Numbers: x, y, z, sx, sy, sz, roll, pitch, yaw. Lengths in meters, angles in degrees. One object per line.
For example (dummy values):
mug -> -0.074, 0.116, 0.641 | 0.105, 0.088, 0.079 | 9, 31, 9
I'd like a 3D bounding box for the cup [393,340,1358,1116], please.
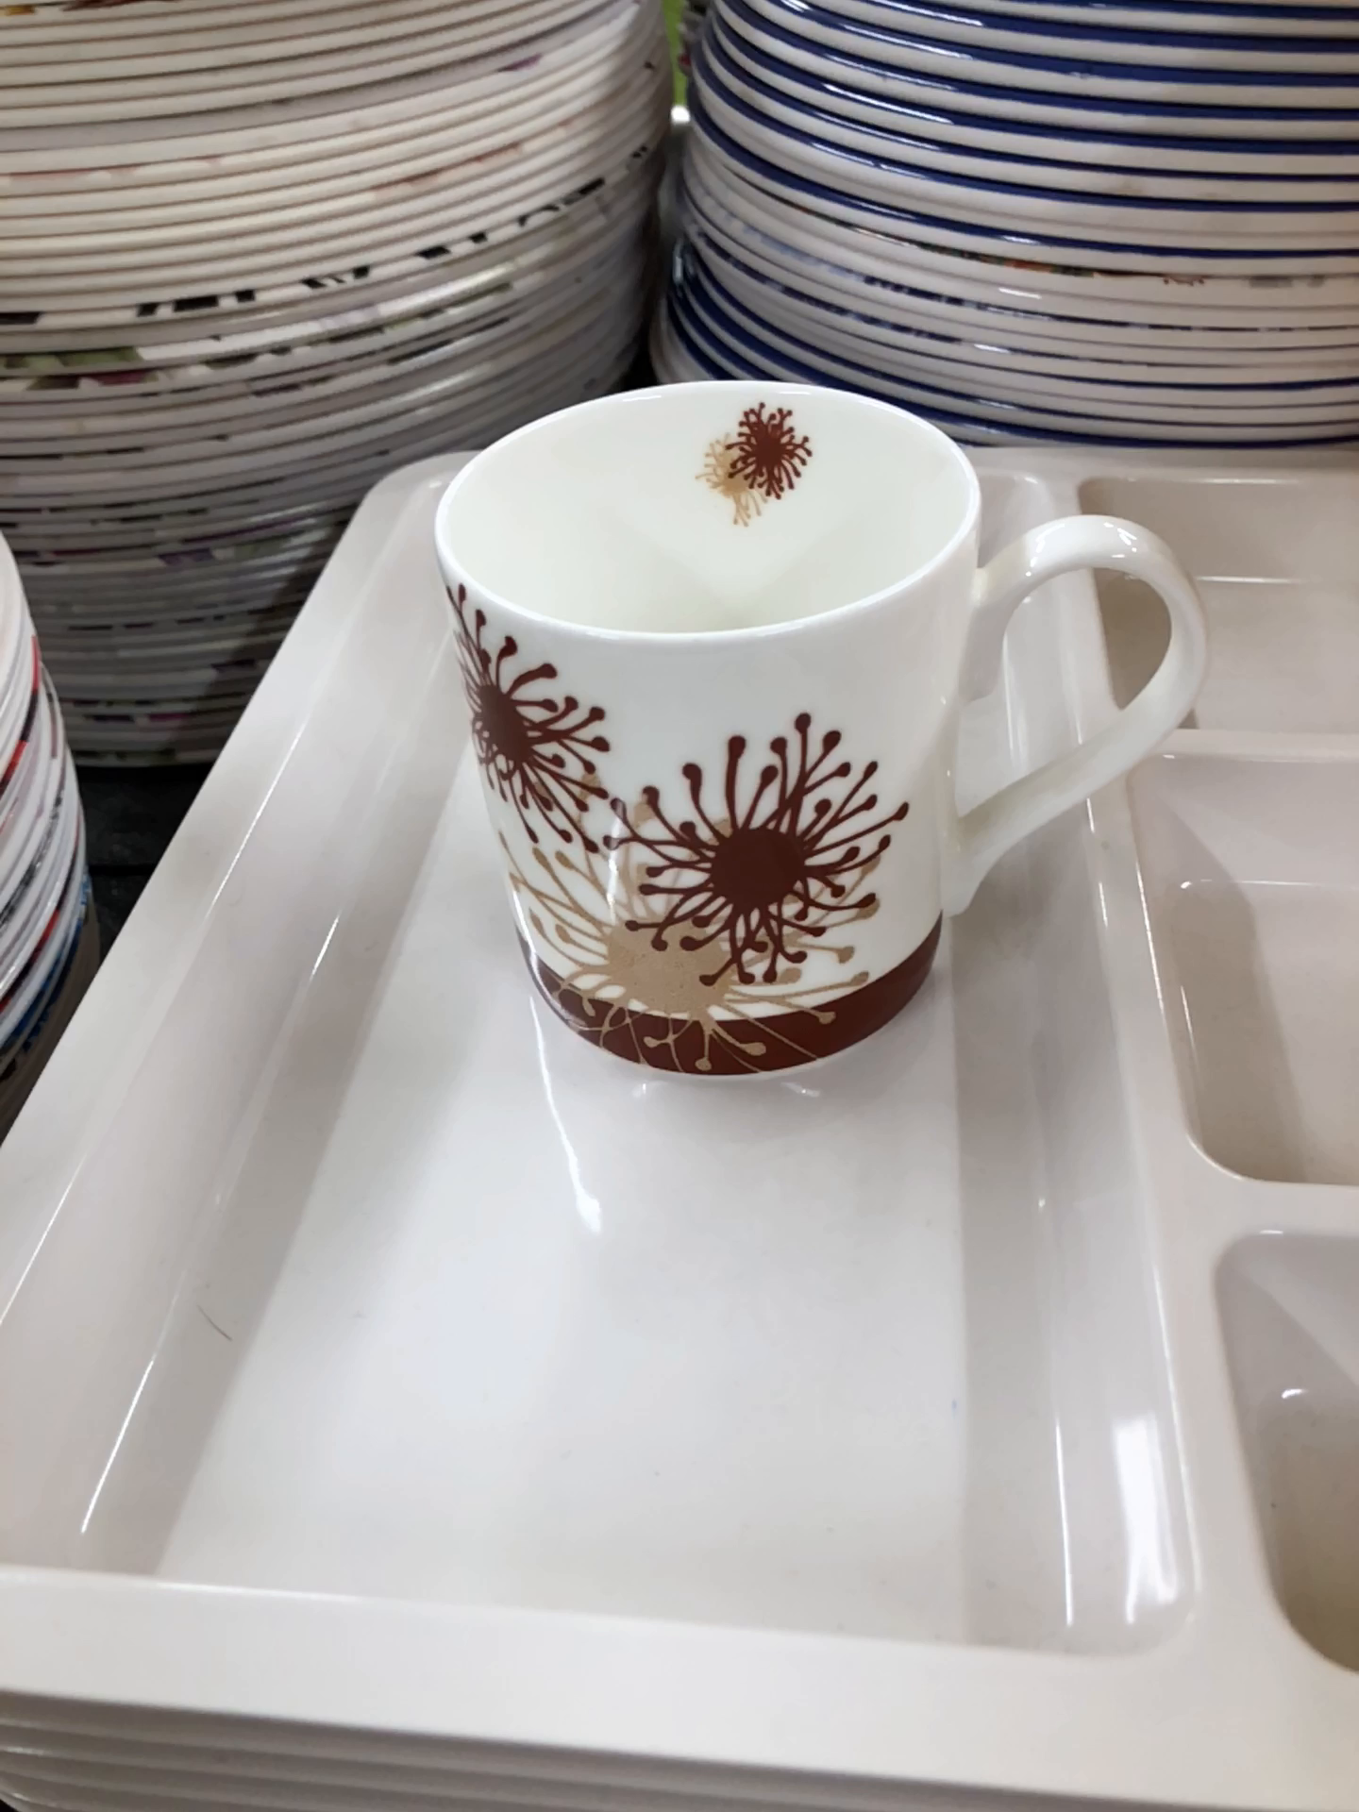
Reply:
cup -> 0.028, -0.028, 0.240 | 0.120, 0.089, 0.081 | -1, 42, 2
